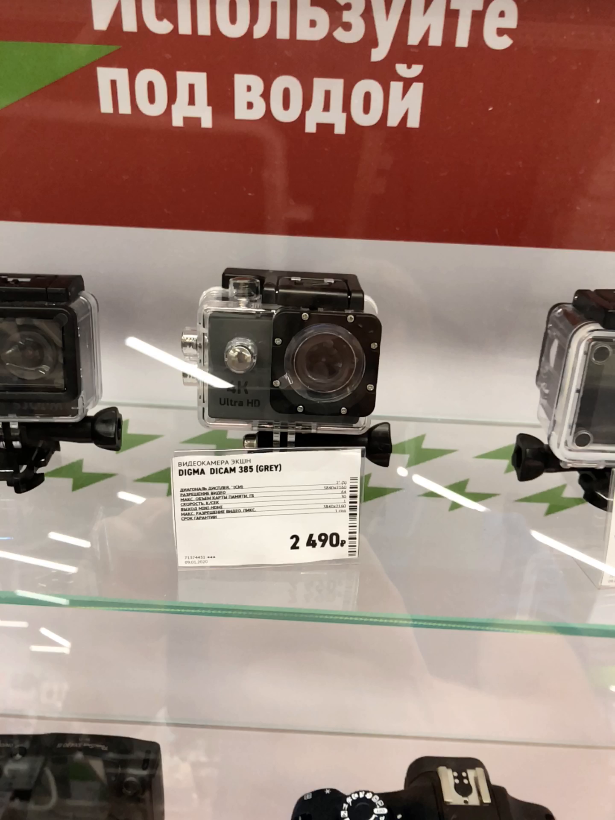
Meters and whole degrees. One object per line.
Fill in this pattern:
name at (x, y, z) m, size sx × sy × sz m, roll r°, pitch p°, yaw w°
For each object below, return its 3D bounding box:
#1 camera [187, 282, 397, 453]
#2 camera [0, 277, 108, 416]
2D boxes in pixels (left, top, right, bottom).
camera at (-0.007, -0.019, 0.281) m, size 0.077 × 0.055 × 0.048 m, roll 2°, pitch 20°, yaw 0°
camera at (-0.119, -0.025, 0.266) m, size 0.072 × 0.046 × 0.036 m, roll 1°, pitch 16°, yaw -4°
